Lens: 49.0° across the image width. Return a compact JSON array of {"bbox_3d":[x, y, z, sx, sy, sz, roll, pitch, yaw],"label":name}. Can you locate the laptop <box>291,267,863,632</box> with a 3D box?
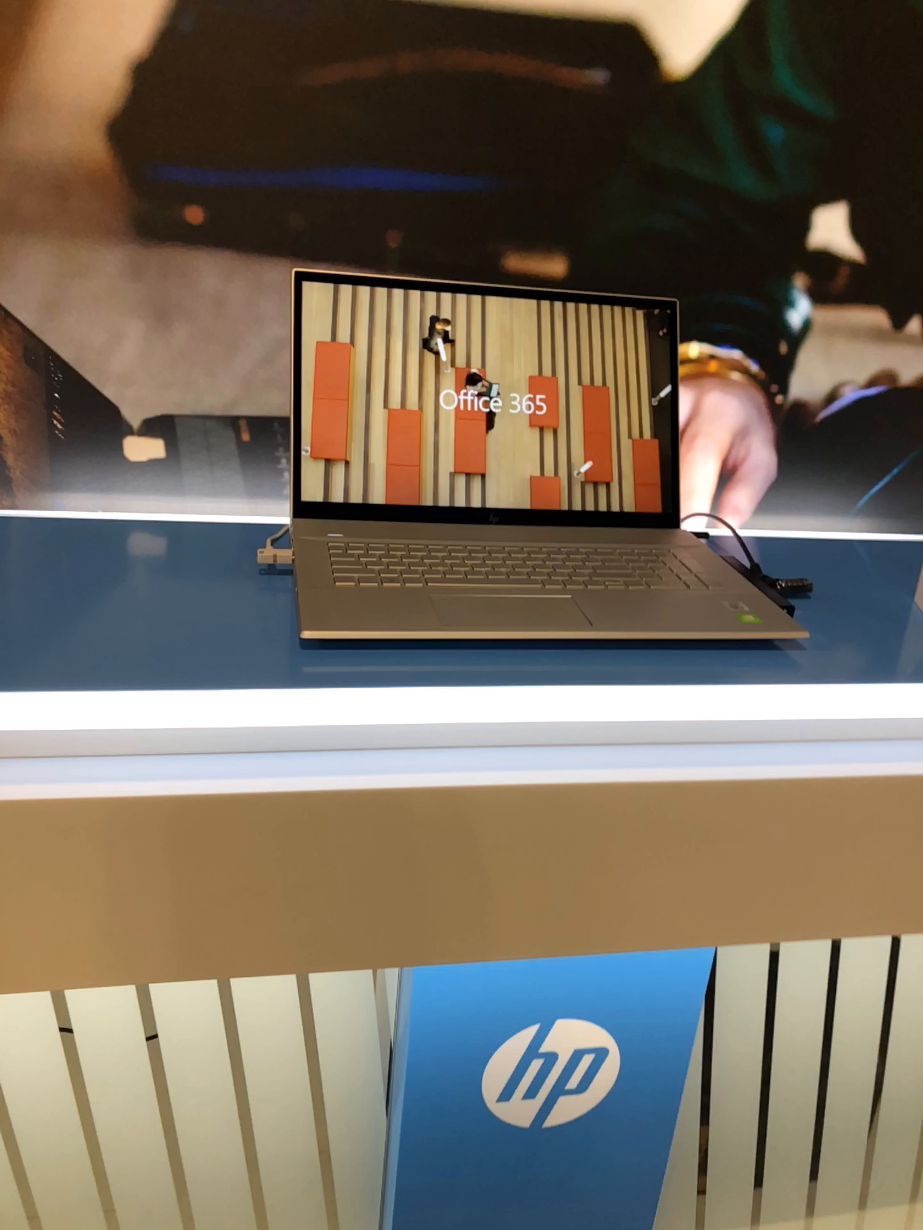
[{"bbox_3d":[0.056,-0.168,0.913,0.400,0.217,0.385,0,23,-11],"label":"laptop"}]
